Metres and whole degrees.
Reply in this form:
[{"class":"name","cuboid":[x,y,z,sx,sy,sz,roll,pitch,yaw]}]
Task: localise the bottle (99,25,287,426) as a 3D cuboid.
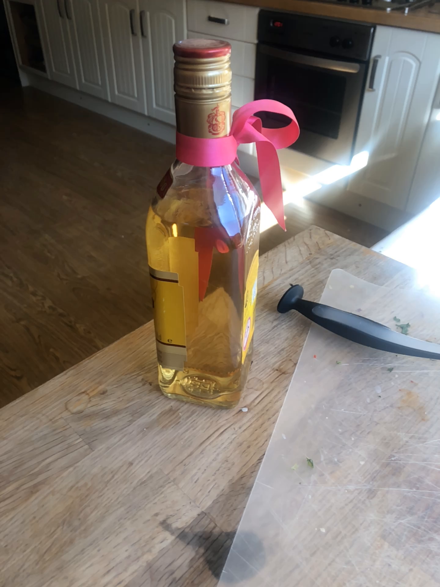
[{"class":"bottle","cuboid":[-0.009,-0.029,0.302,0.070,0.228,0.081,9,38,11]}]
